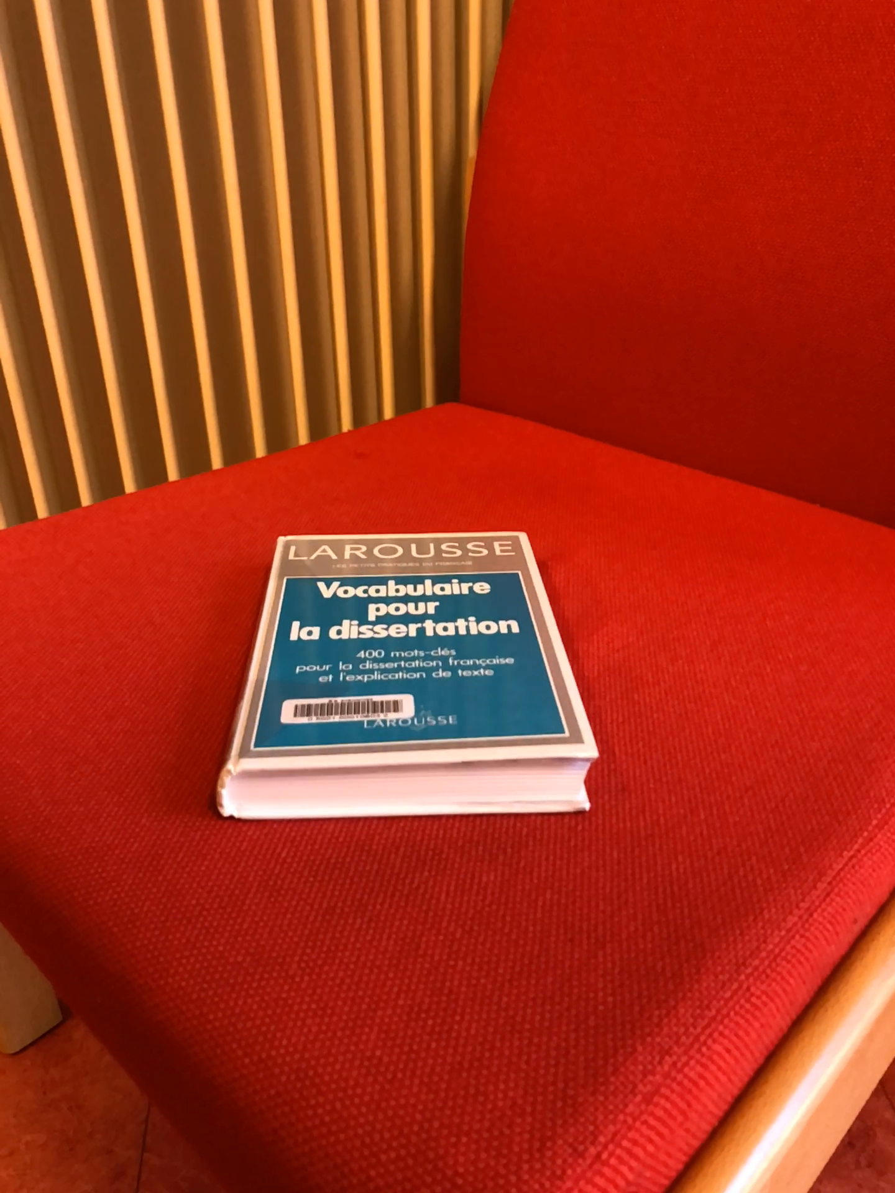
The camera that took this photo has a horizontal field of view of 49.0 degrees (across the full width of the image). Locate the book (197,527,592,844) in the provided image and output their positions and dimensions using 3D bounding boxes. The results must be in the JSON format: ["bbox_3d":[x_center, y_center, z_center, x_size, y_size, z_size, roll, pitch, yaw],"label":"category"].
[{"bbox_3d":[-0.023,0.026,0.436,0.137,0.030,0.199,-2,28,-3],"label":"book"}]
